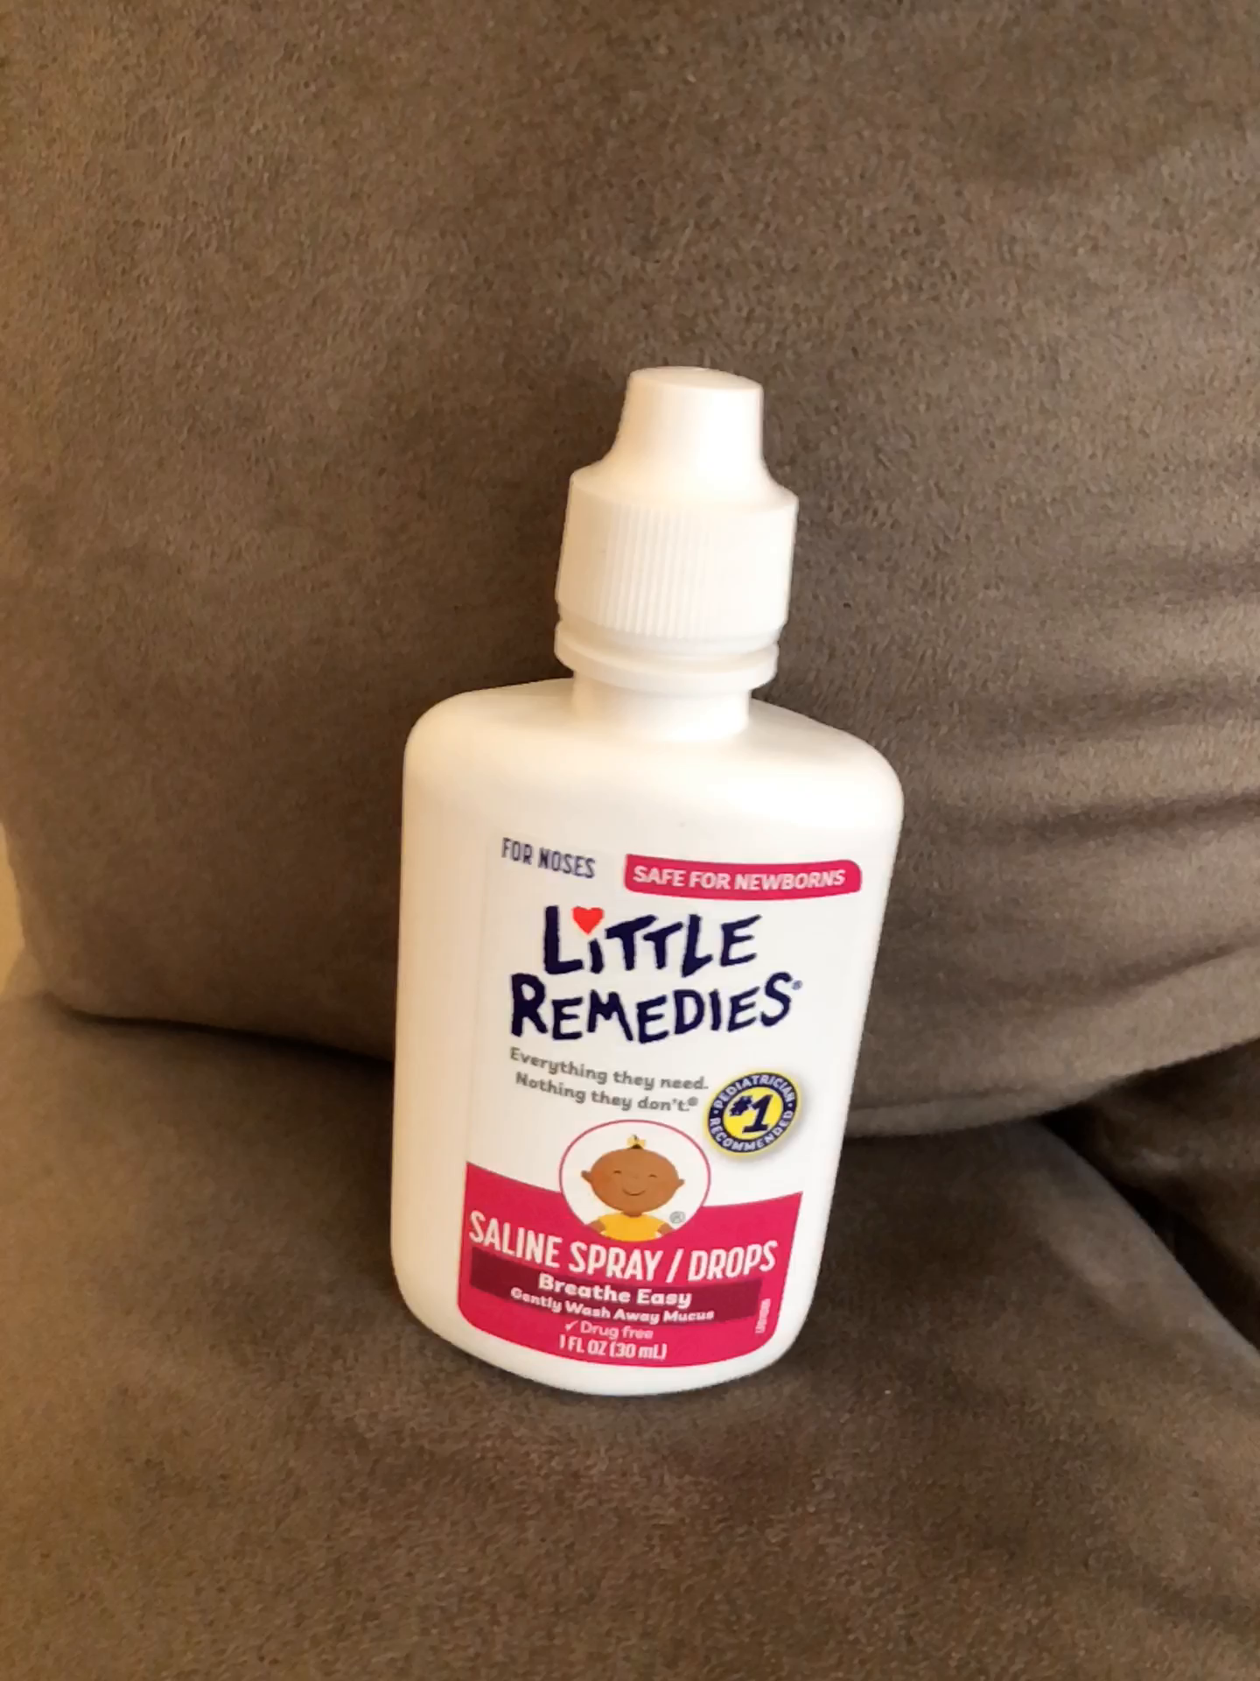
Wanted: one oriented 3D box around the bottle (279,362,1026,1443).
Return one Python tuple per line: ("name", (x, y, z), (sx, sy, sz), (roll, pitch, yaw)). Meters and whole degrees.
("bottle", (0.002, 0.010, 0.153), (0.060, 0.110, 0.030), (5, 29, 7))
